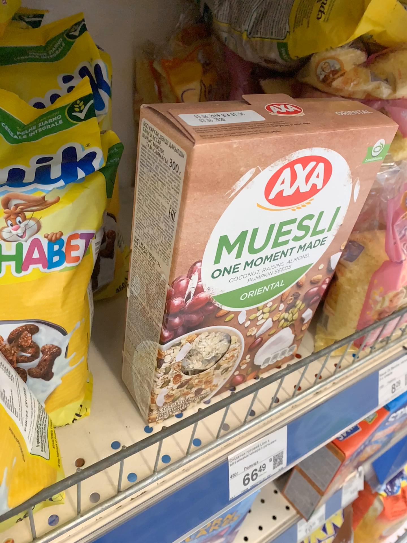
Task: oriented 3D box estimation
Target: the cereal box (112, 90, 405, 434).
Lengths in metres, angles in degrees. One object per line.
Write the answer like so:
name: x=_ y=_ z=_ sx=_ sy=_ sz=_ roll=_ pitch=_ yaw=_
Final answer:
cereal box: x=0.022 y=-0.001 z=0.287 sx=0.150 sy=0.218 sz=0.050 roll=-15 pitch=46 yaw=-30
